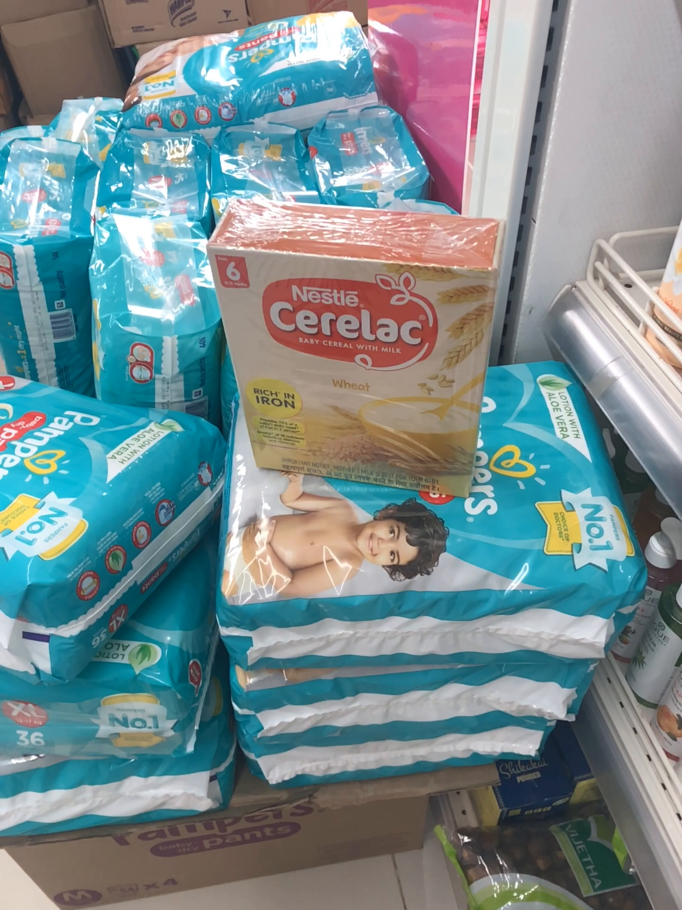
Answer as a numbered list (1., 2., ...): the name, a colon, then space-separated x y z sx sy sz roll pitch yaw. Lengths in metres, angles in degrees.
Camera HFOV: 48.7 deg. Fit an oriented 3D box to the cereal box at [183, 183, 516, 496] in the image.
1. cereal box: 0.009 -0.060 0.446 0.160 0.179 0.050 8 52 10
